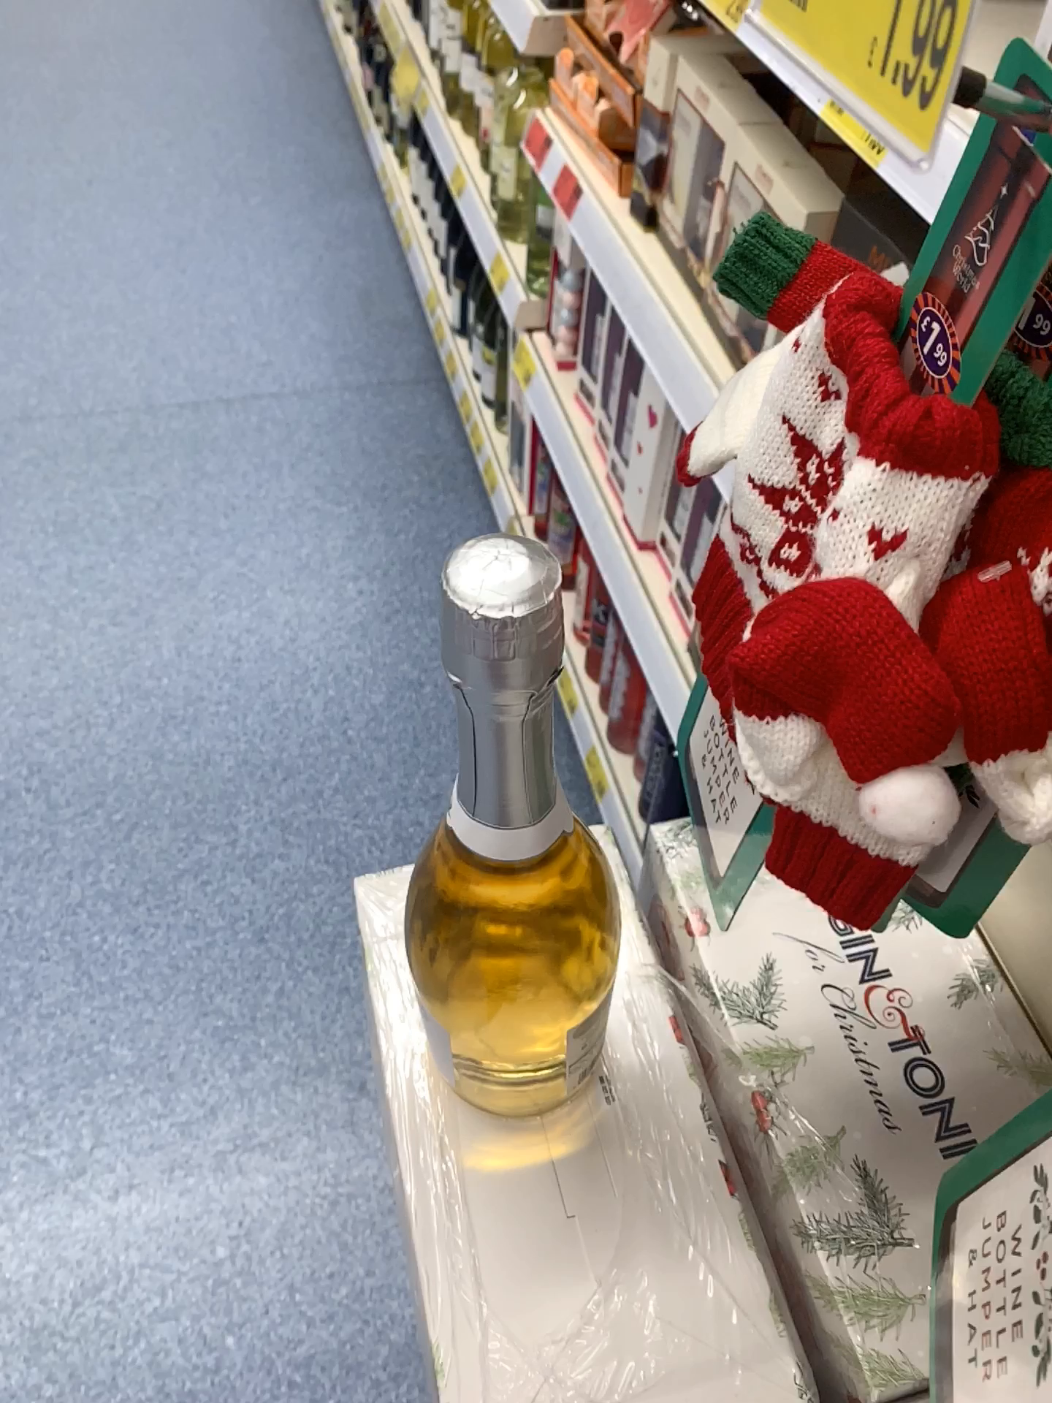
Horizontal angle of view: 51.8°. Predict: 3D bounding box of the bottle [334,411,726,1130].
[{"bbox_3d":[-0.001,0.052,0.403,0.095,0.299,0.095,2,49,-2],"label":"bottle"}]
